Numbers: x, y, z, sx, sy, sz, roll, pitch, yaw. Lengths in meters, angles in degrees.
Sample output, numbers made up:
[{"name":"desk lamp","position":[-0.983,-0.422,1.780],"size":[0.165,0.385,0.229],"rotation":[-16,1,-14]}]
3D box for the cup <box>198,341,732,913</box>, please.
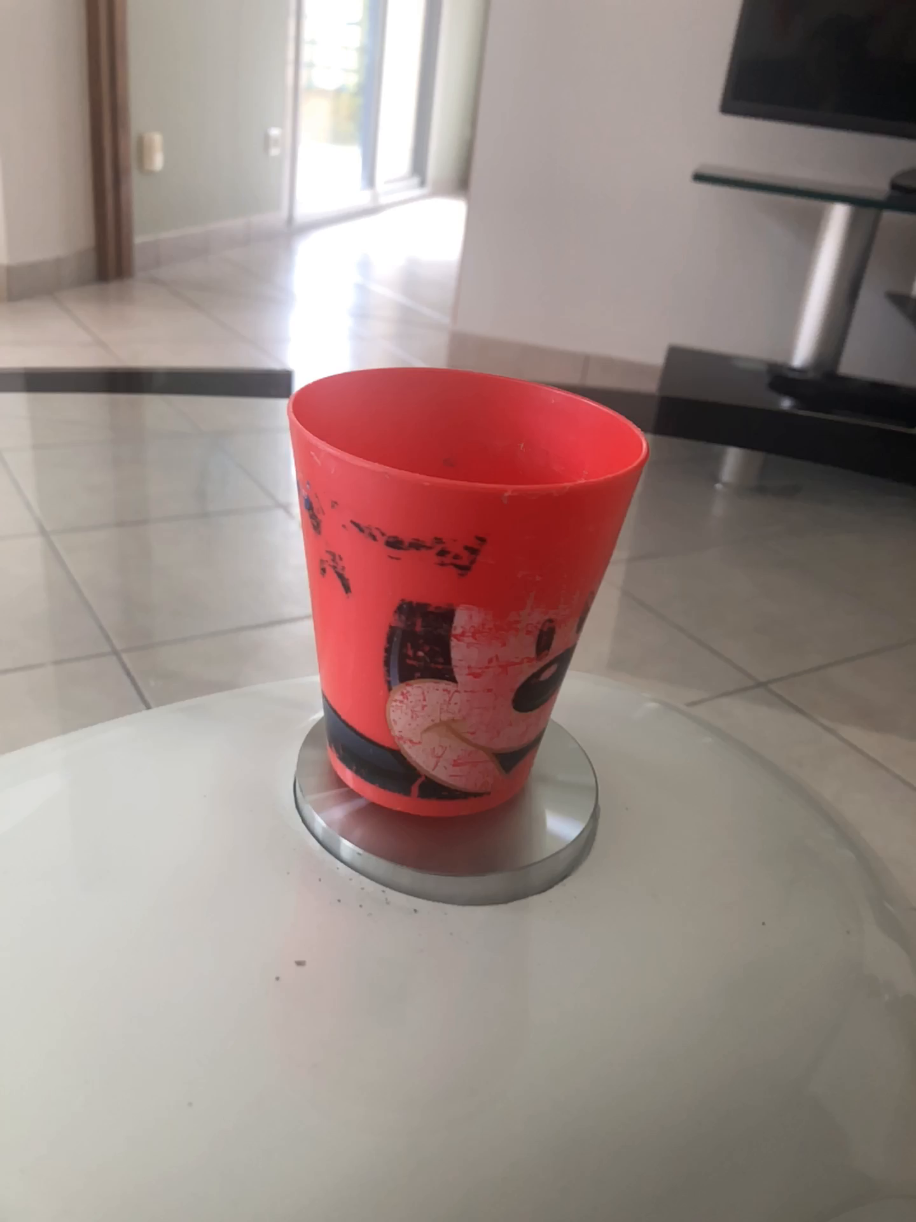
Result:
[{"name":"cup","position":[-0.003,-0.005,0.234],"size":[0.080,0.089,0.080],"rotation":[6,26,-3]}]
